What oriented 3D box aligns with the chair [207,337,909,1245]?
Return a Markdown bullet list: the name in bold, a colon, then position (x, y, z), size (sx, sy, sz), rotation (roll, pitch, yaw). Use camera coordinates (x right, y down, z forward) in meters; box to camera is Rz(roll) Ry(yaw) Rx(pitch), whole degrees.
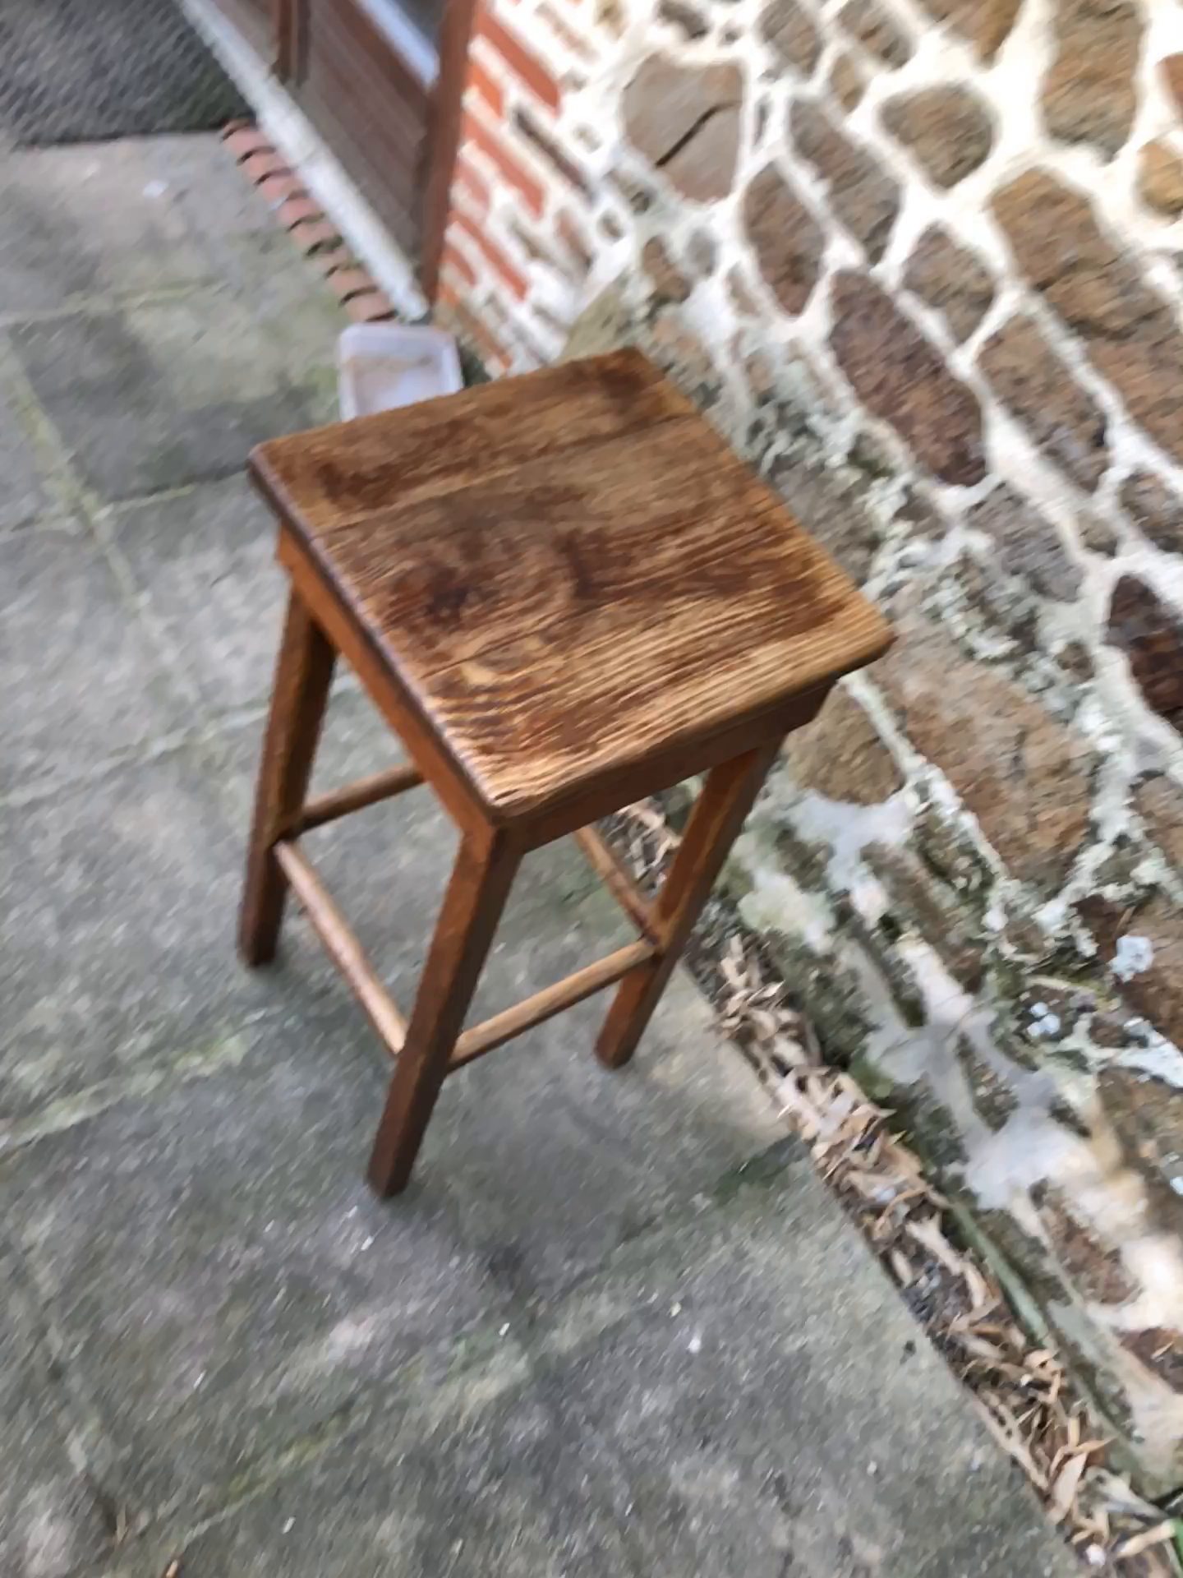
- **chair**: position (-0.102, 0.065, 1.171), size (0.331, 0.796, 0.351), rotation (-24, 66, -27)
